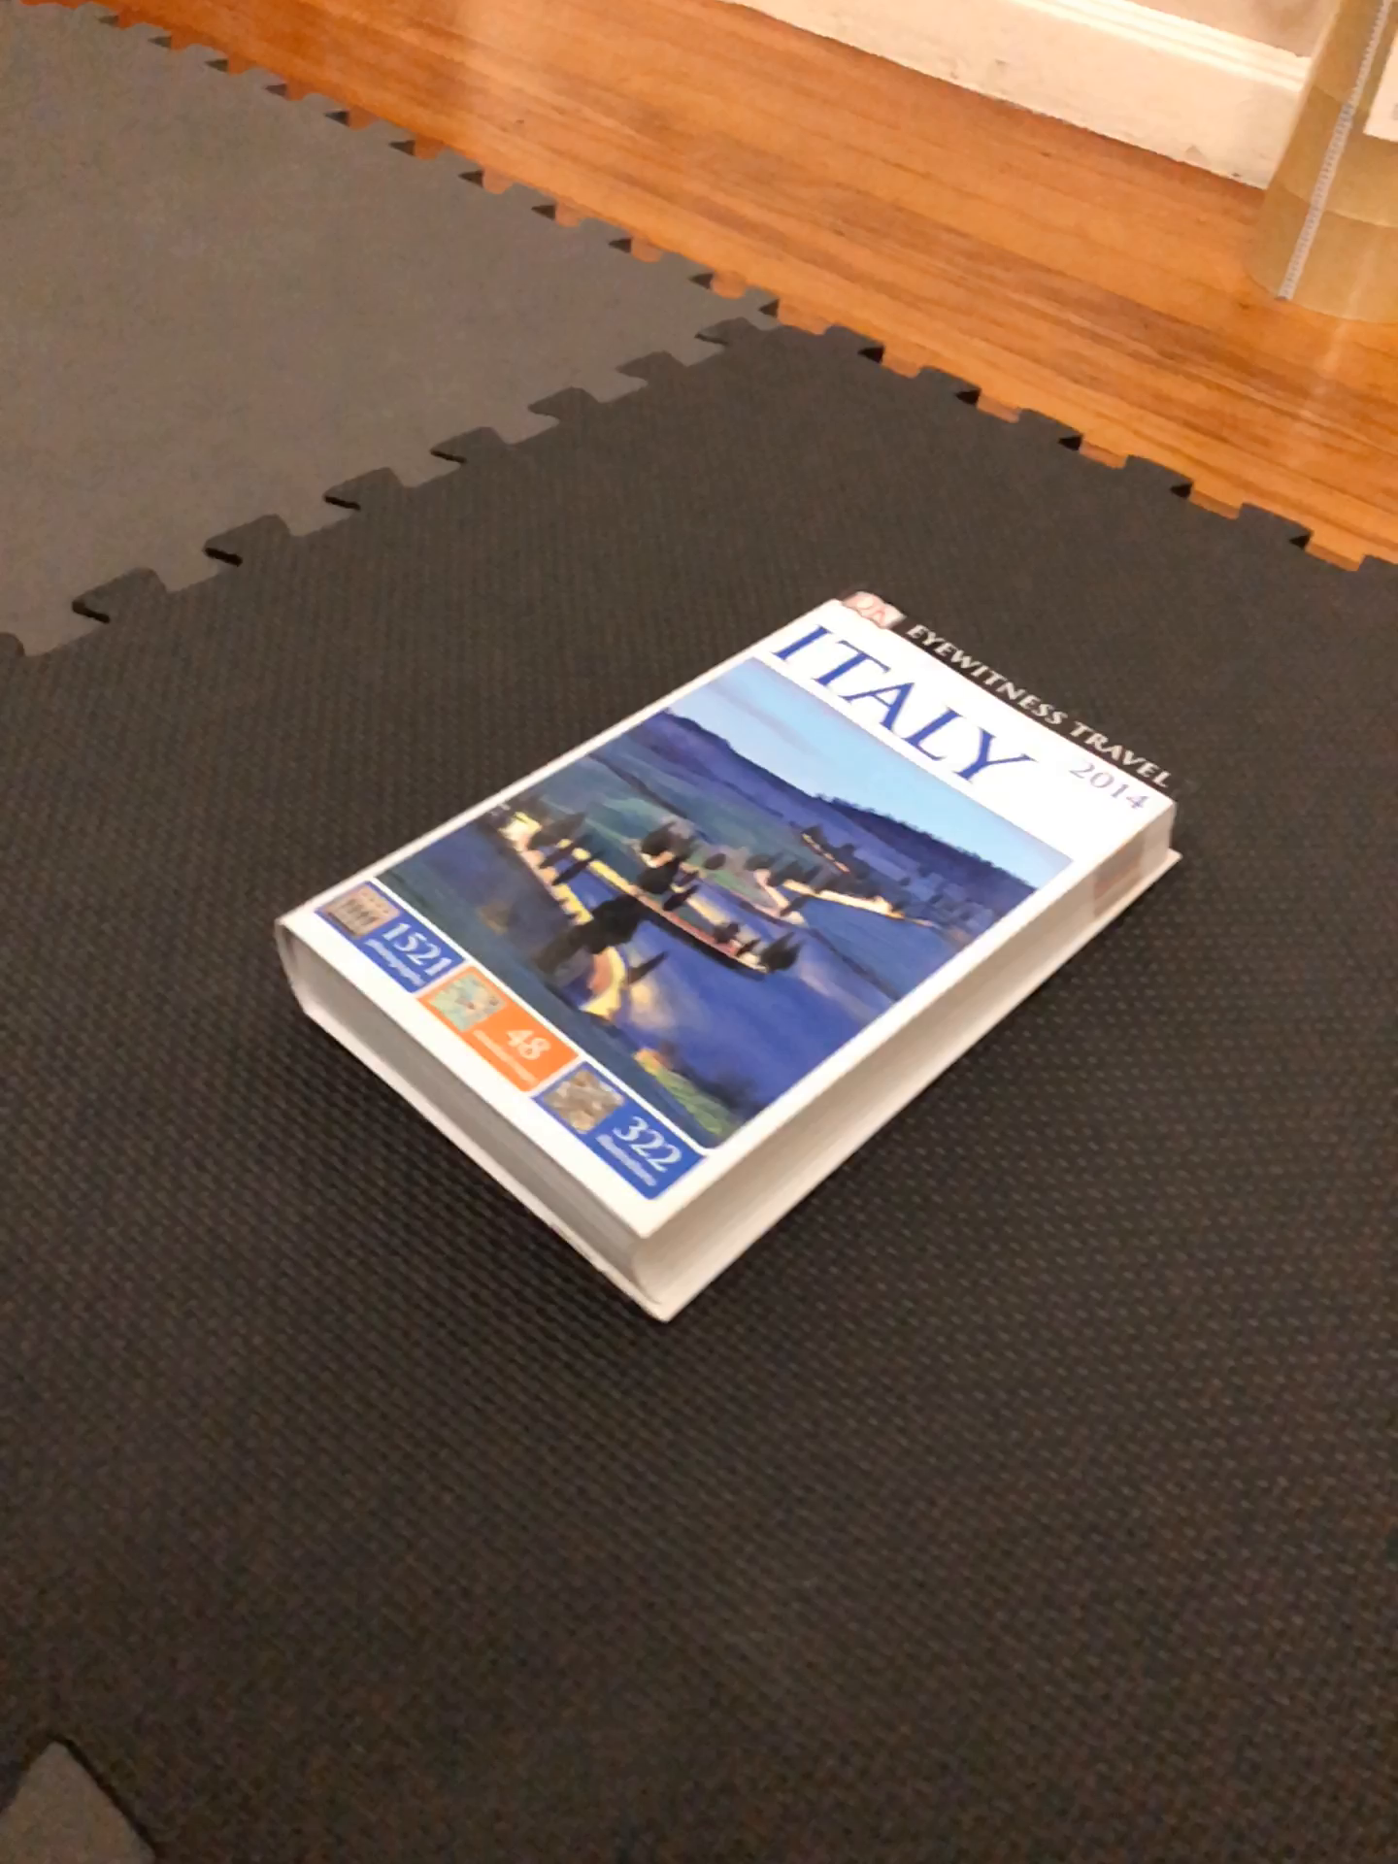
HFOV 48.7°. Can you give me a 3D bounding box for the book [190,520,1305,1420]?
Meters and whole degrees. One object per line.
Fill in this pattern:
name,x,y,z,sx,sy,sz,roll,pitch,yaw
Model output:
book,0.023,-0.016,0.408,0.160,0.040,0.251,35,52,26
